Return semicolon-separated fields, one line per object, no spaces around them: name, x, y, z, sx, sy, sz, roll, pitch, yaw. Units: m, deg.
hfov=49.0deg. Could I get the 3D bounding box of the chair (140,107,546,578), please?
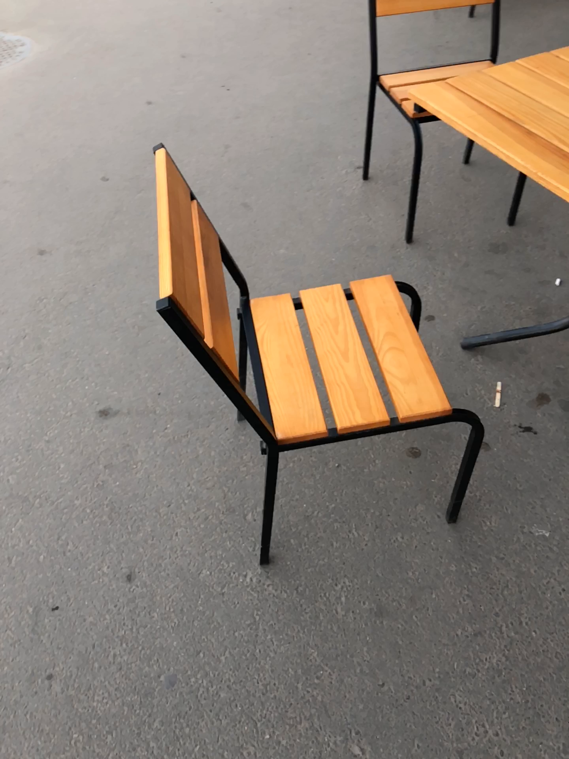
chair;0.066;-0.044;1.295;0.560;0.767;0.502;-9;47;-4
